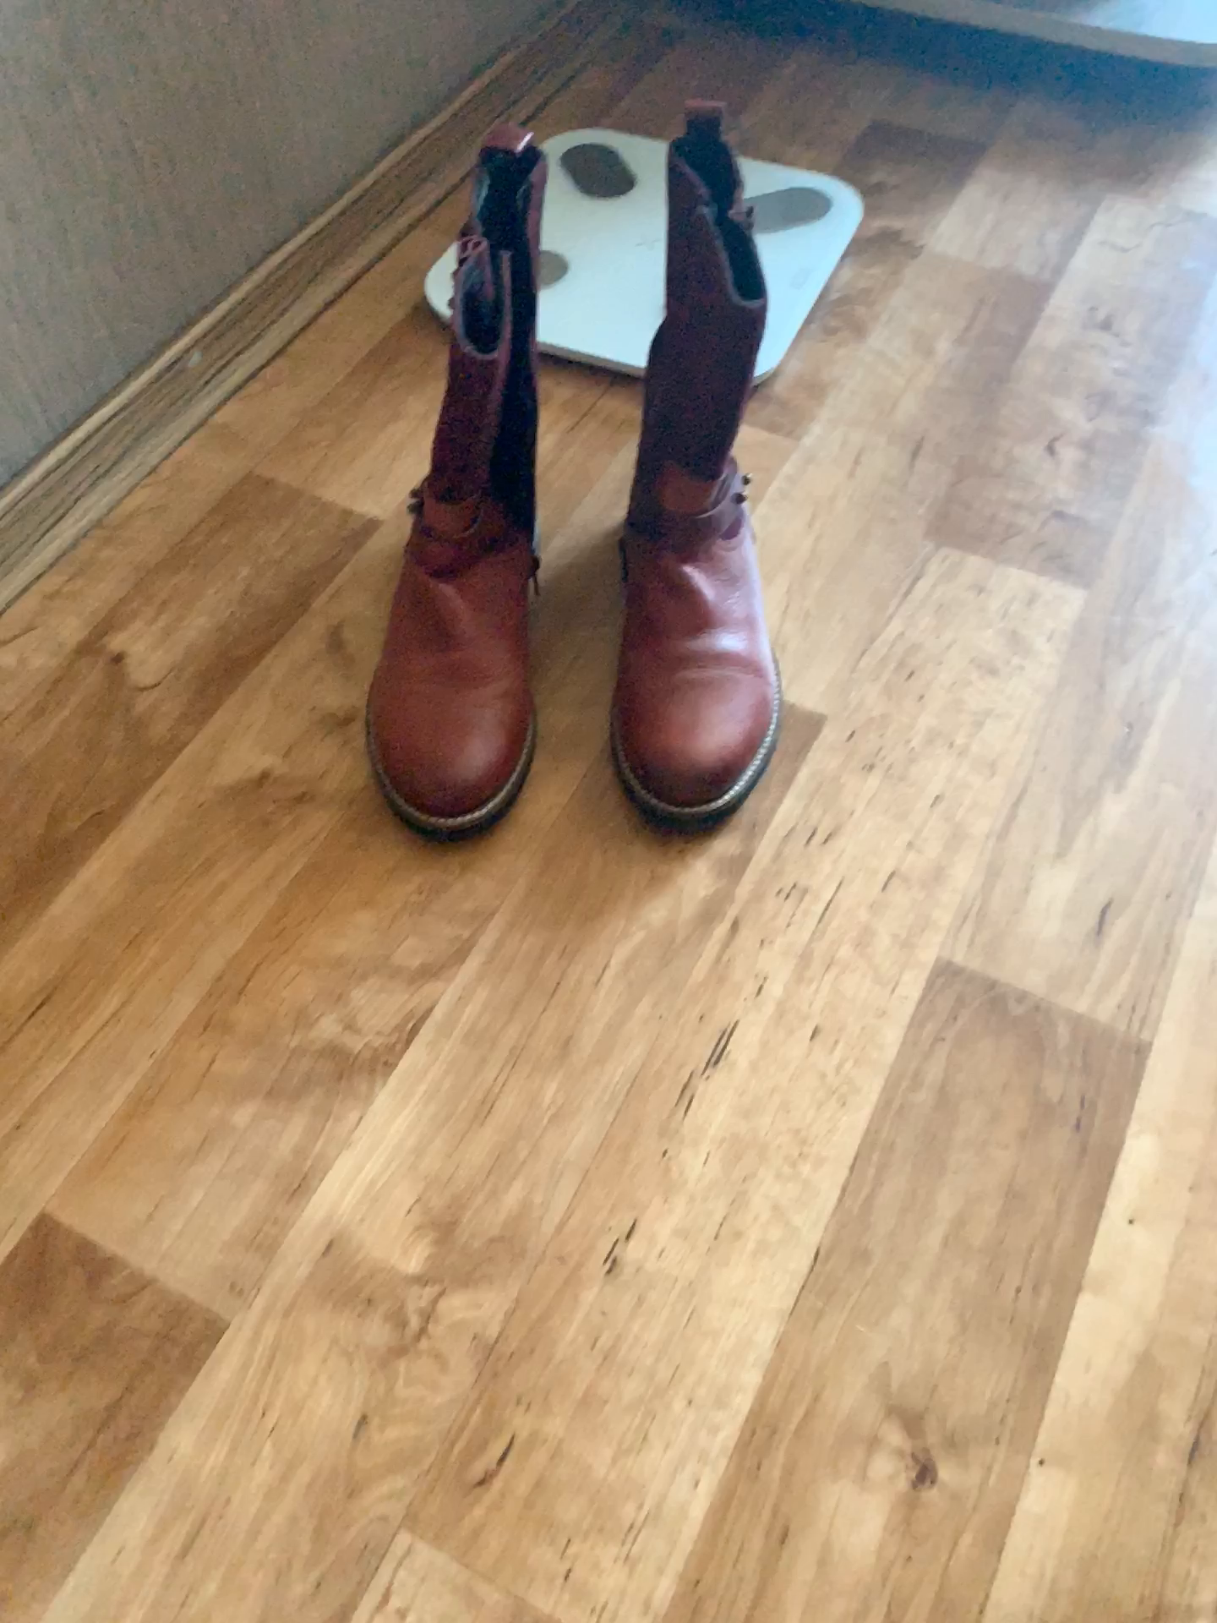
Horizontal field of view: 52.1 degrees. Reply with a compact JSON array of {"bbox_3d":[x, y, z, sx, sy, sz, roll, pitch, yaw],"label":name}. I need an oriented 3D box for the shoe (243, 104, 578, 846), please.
[{"bbox_3d":[-0.074,-0.157,0.613,0.100,0.249,0.251,0,55,2],"label":"shoe"}]

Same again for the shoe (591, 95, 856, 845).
[{"bbox_3d":[0.044,-0.155,0.593,0.090,0.239,0.251,0,55,2],"label":"shoe"}]
